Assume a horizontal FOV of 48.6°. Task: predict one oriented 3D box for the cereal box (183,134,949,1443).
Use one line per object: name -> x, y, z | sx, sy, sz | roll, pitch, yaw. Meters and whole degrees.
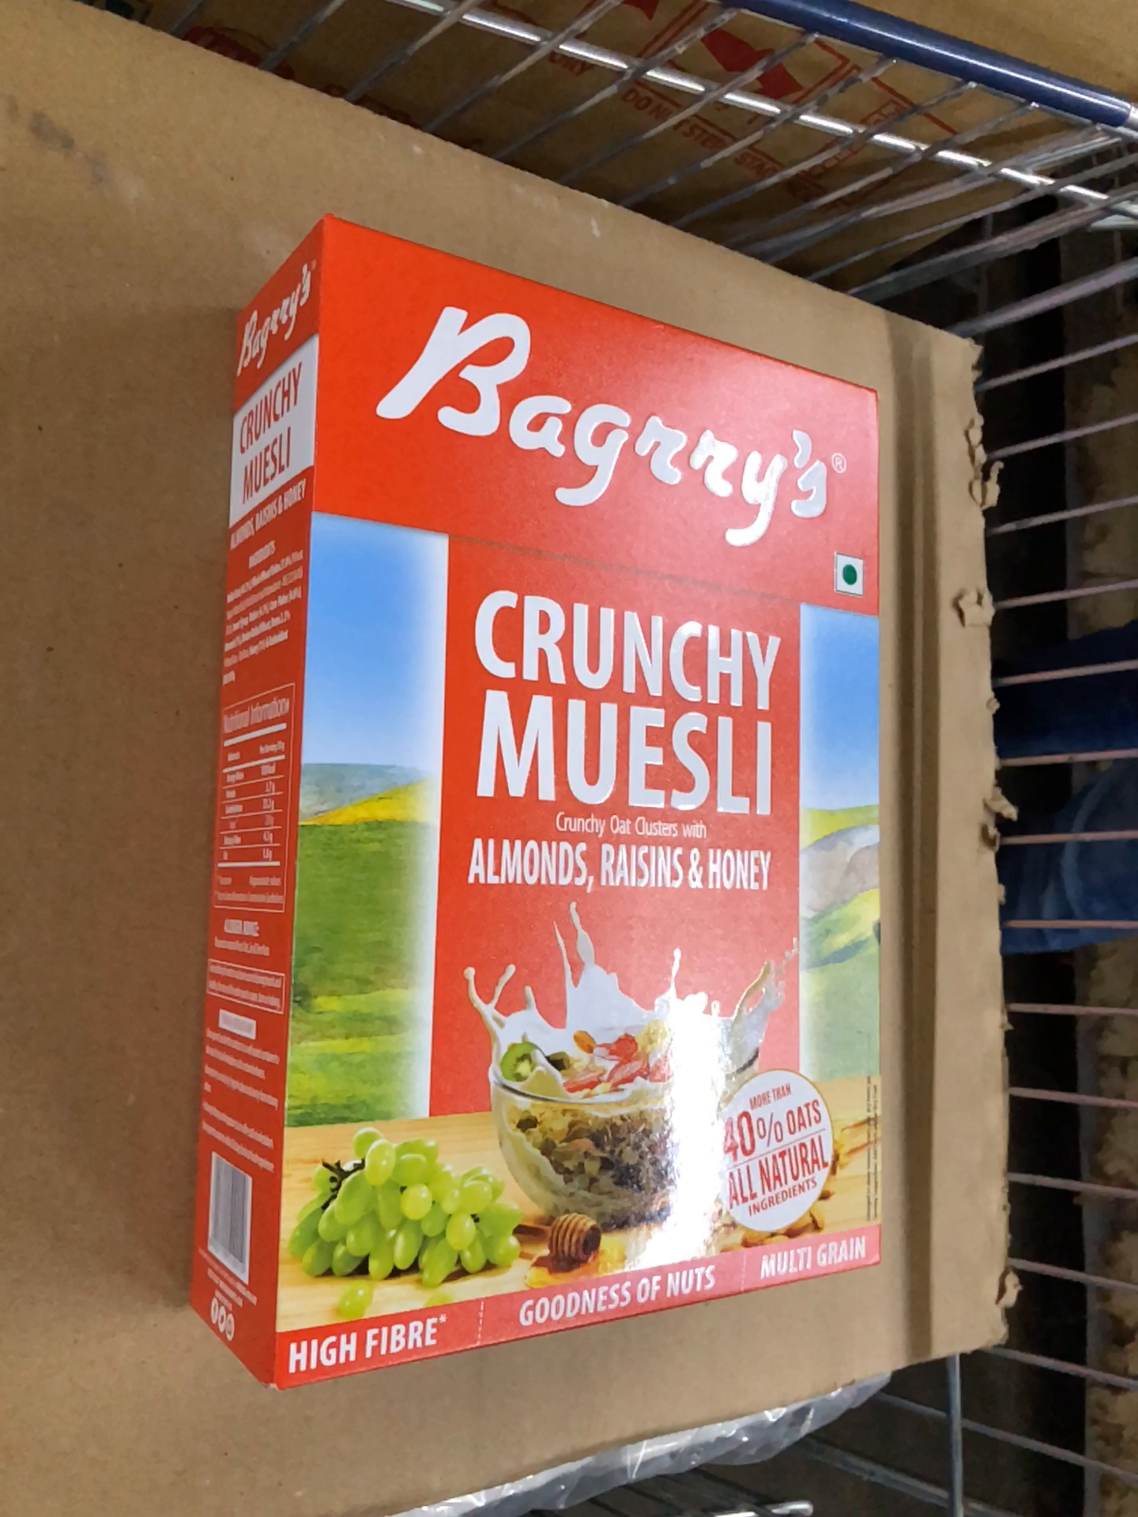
cereal box -> 0.007, 0.008, 0.327 | 0.181, 0.070, 0.260 | 4, 85, -31
